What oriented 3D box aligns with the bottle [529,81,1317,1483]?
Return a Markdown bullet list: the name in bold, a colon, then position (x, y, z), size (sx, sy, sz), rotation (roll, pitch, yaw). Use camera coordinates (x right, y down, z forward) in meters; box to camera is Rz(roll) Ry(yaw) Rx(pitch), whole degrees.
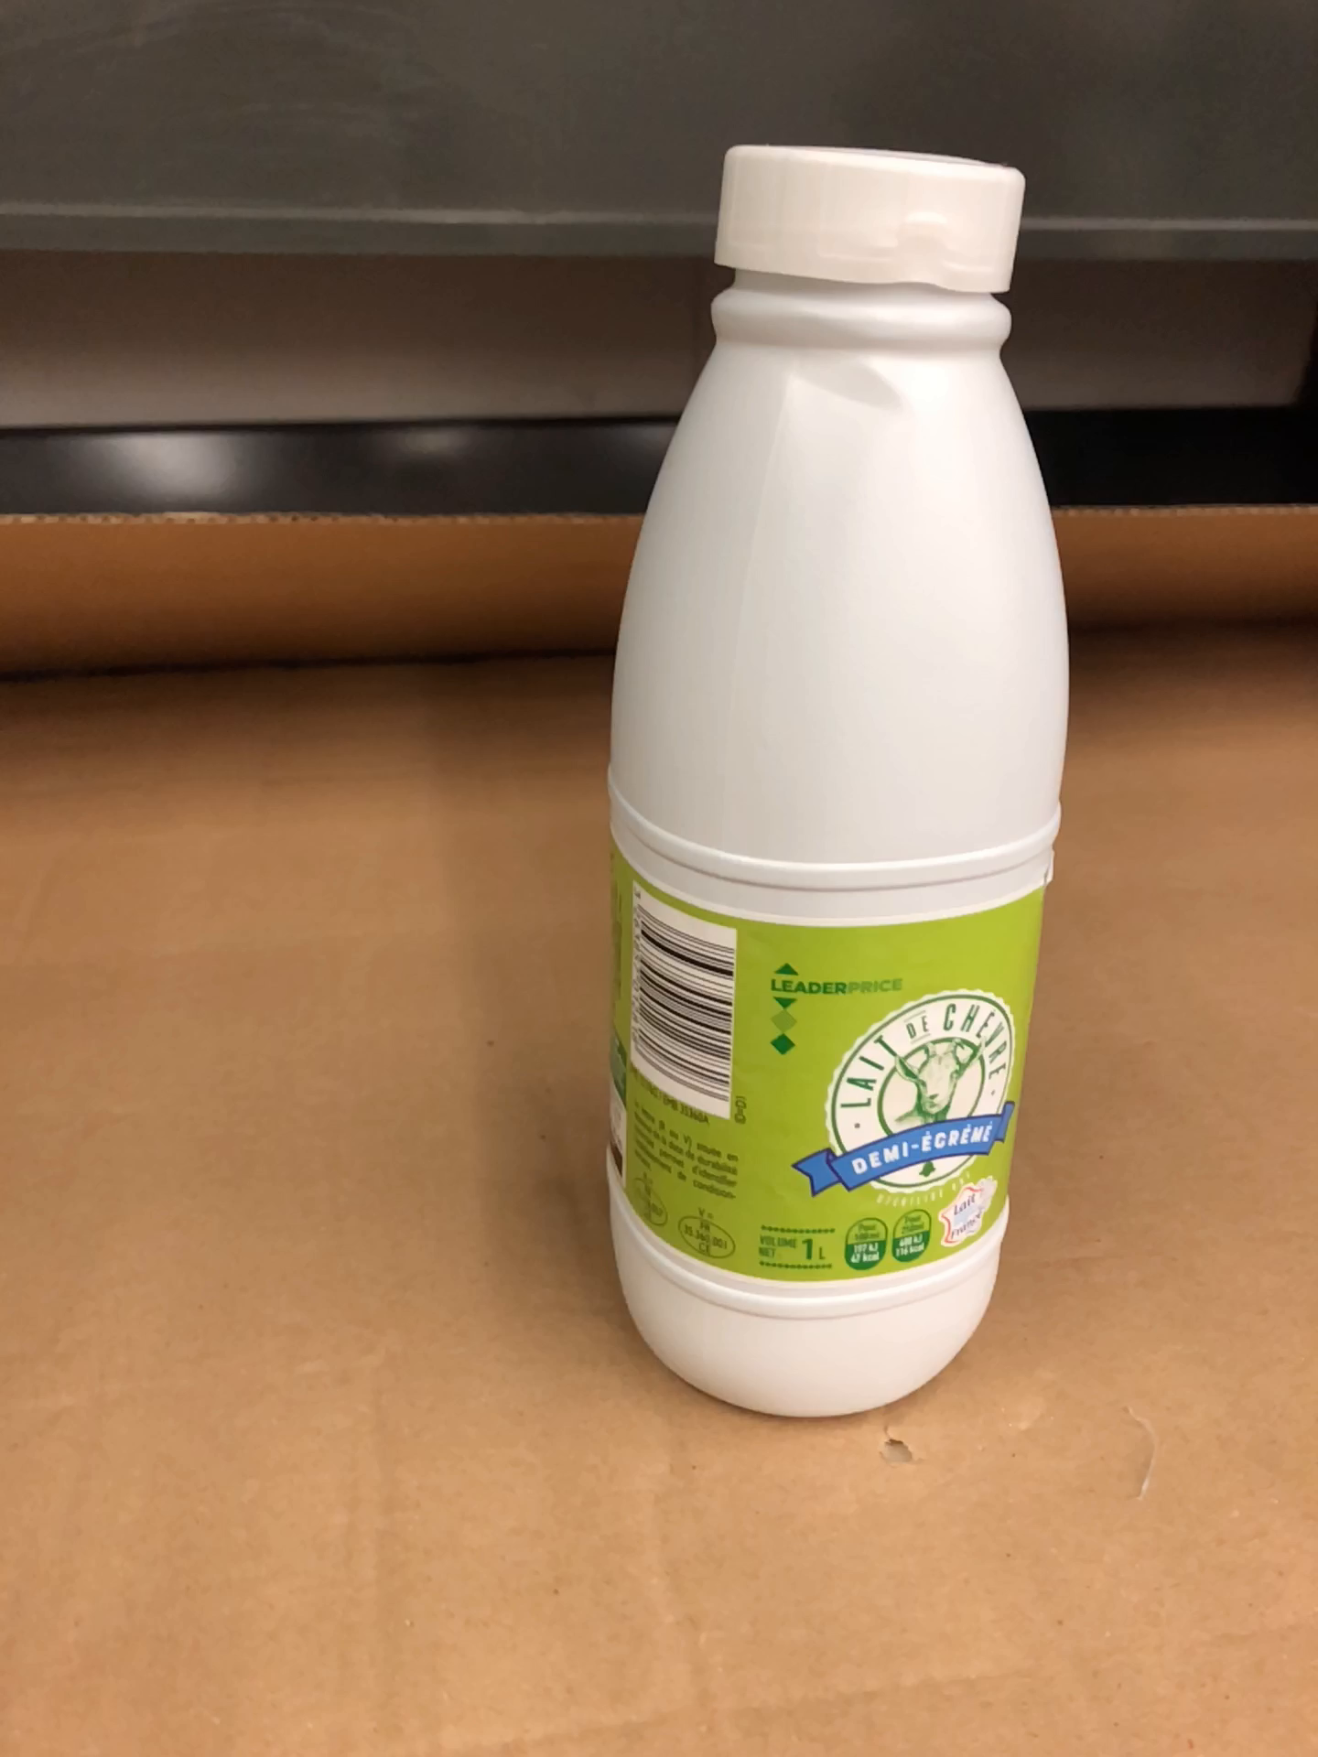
- **bottle**: position (0.037, -0.015, 0.283), size (0.100, 0.239, 0.080), rotation (-9, 26, -19)
